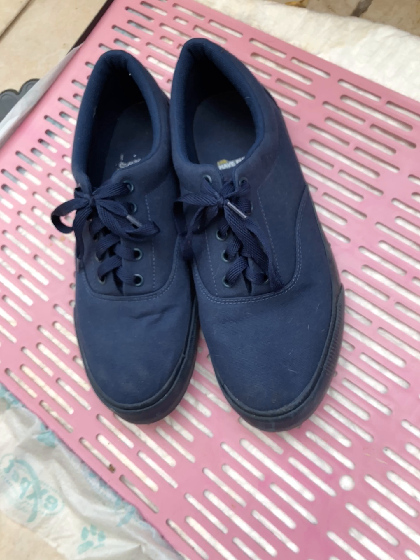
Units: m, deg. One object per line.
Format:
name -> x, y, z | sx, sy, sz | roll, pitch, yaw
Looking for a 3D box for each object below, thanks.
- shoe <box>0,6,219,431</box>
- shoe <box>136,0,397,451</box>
shoe -> -0.062, -0.037, 0.338 | 0.107, 0.100, 0.270 | -6, 74, 12
shoe -> 0.031, -0.036, 0.323 | 0.107, 0.100, 0.270 | -12, 73, 10
